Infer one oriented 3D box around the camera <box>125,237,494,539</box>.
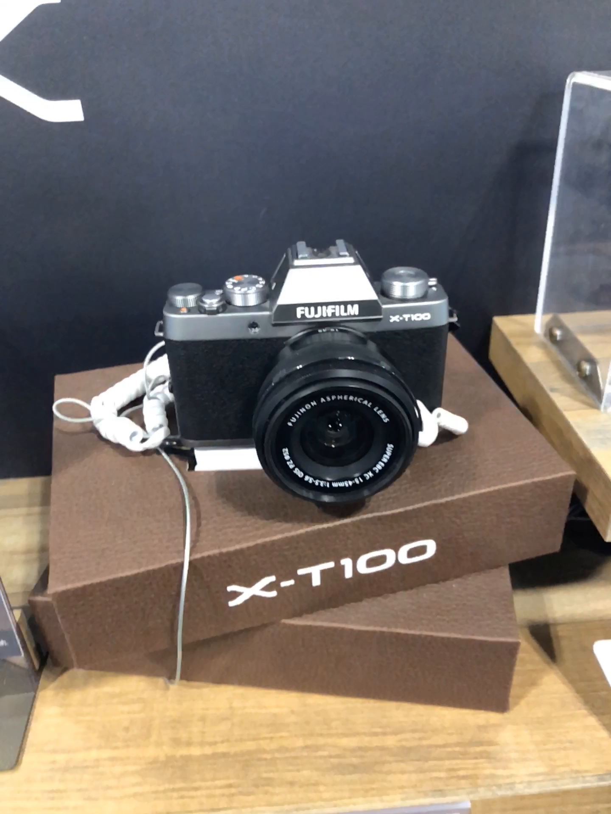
[{"bbox_3d":[0.001,-0.014,0.304,0.130,0.089,0.101,-4,30,-1],"label":"camera"}]
